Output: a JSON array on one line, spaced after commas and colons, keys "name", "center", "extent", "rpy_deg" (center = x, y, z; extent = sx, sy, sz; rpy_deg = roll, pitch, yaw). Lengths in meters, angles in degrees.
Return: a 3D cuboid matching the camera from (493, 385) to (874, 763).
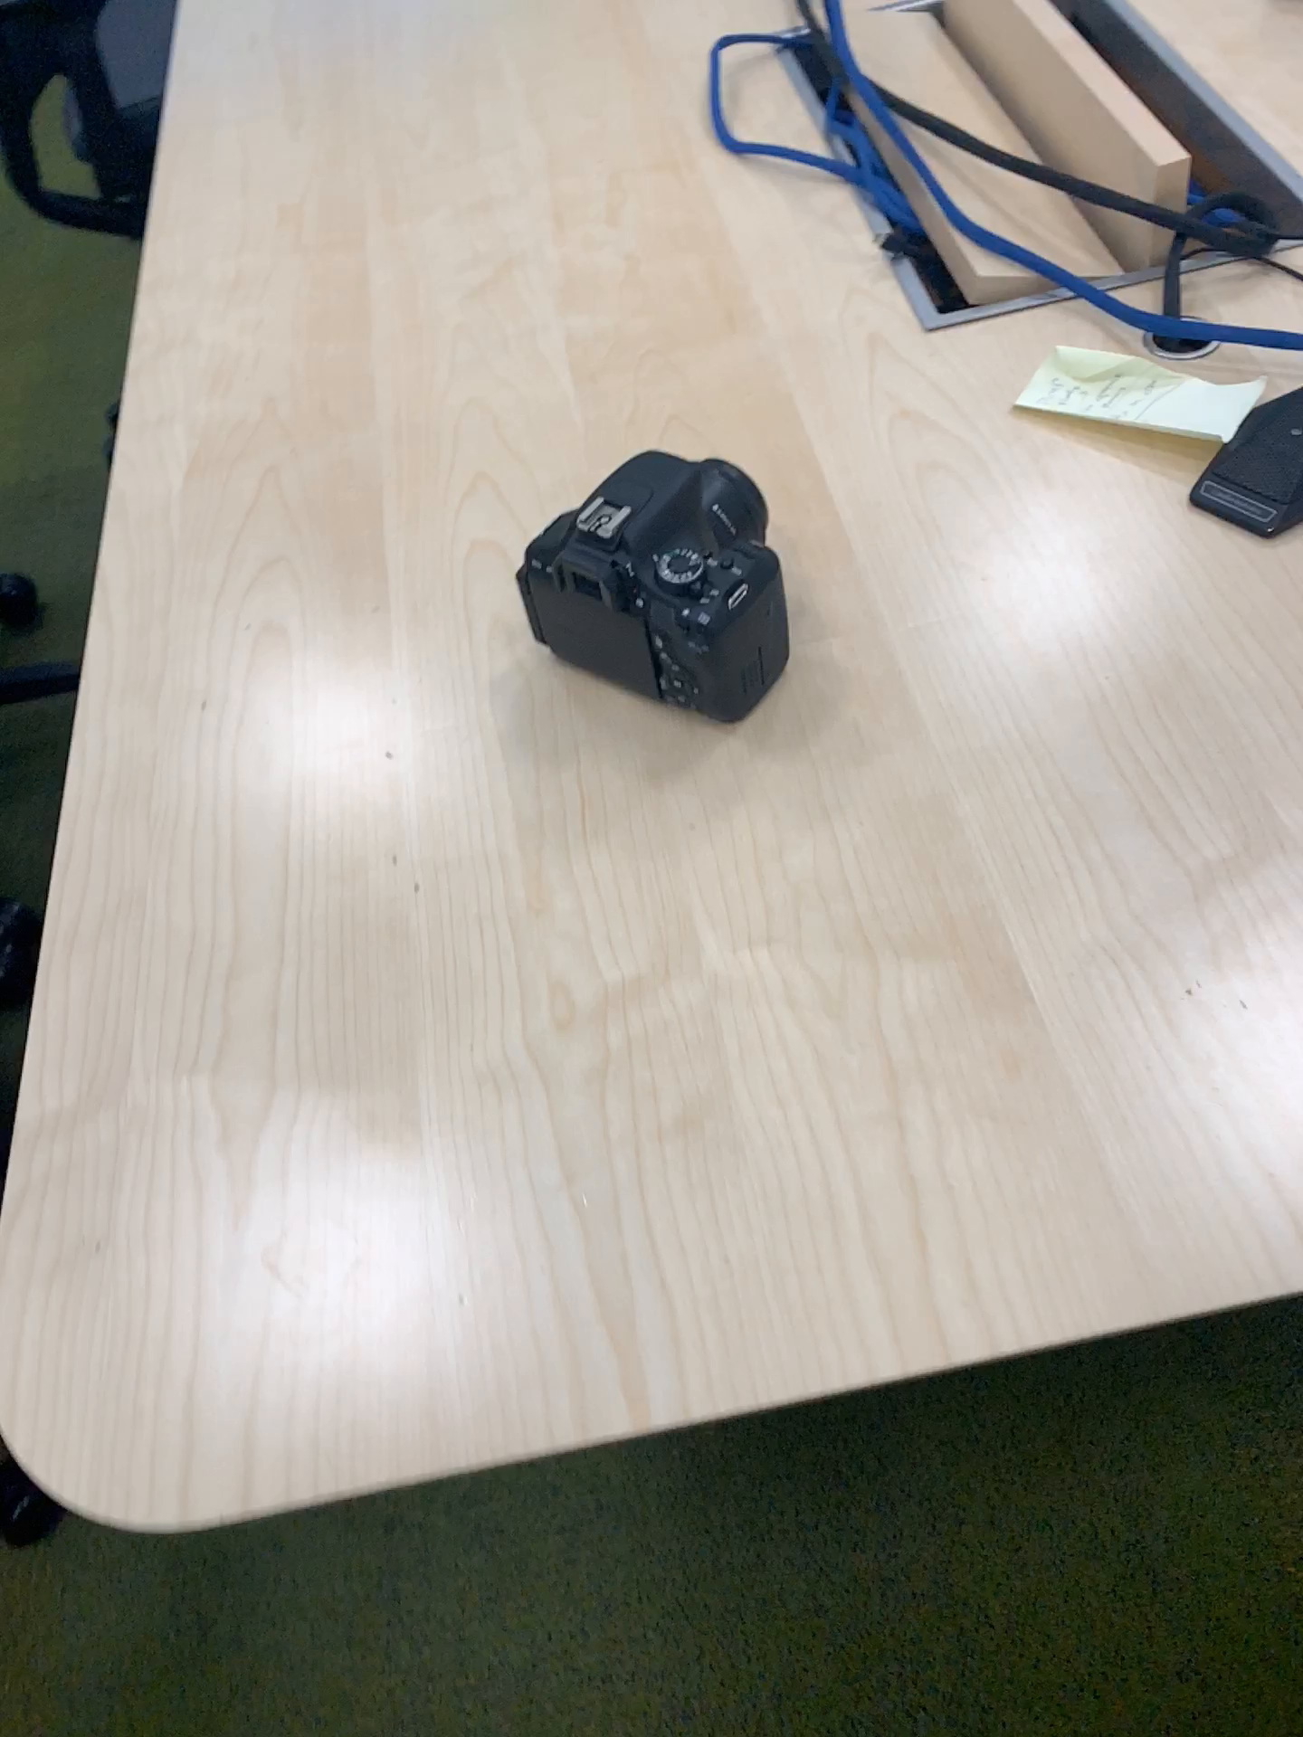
[{"name": "camera", "center": [0.021, -0.153, 0.686], "extent": [0.140, 0.100, 0.123], "rpy_deg": [27, 62, 26]}]
